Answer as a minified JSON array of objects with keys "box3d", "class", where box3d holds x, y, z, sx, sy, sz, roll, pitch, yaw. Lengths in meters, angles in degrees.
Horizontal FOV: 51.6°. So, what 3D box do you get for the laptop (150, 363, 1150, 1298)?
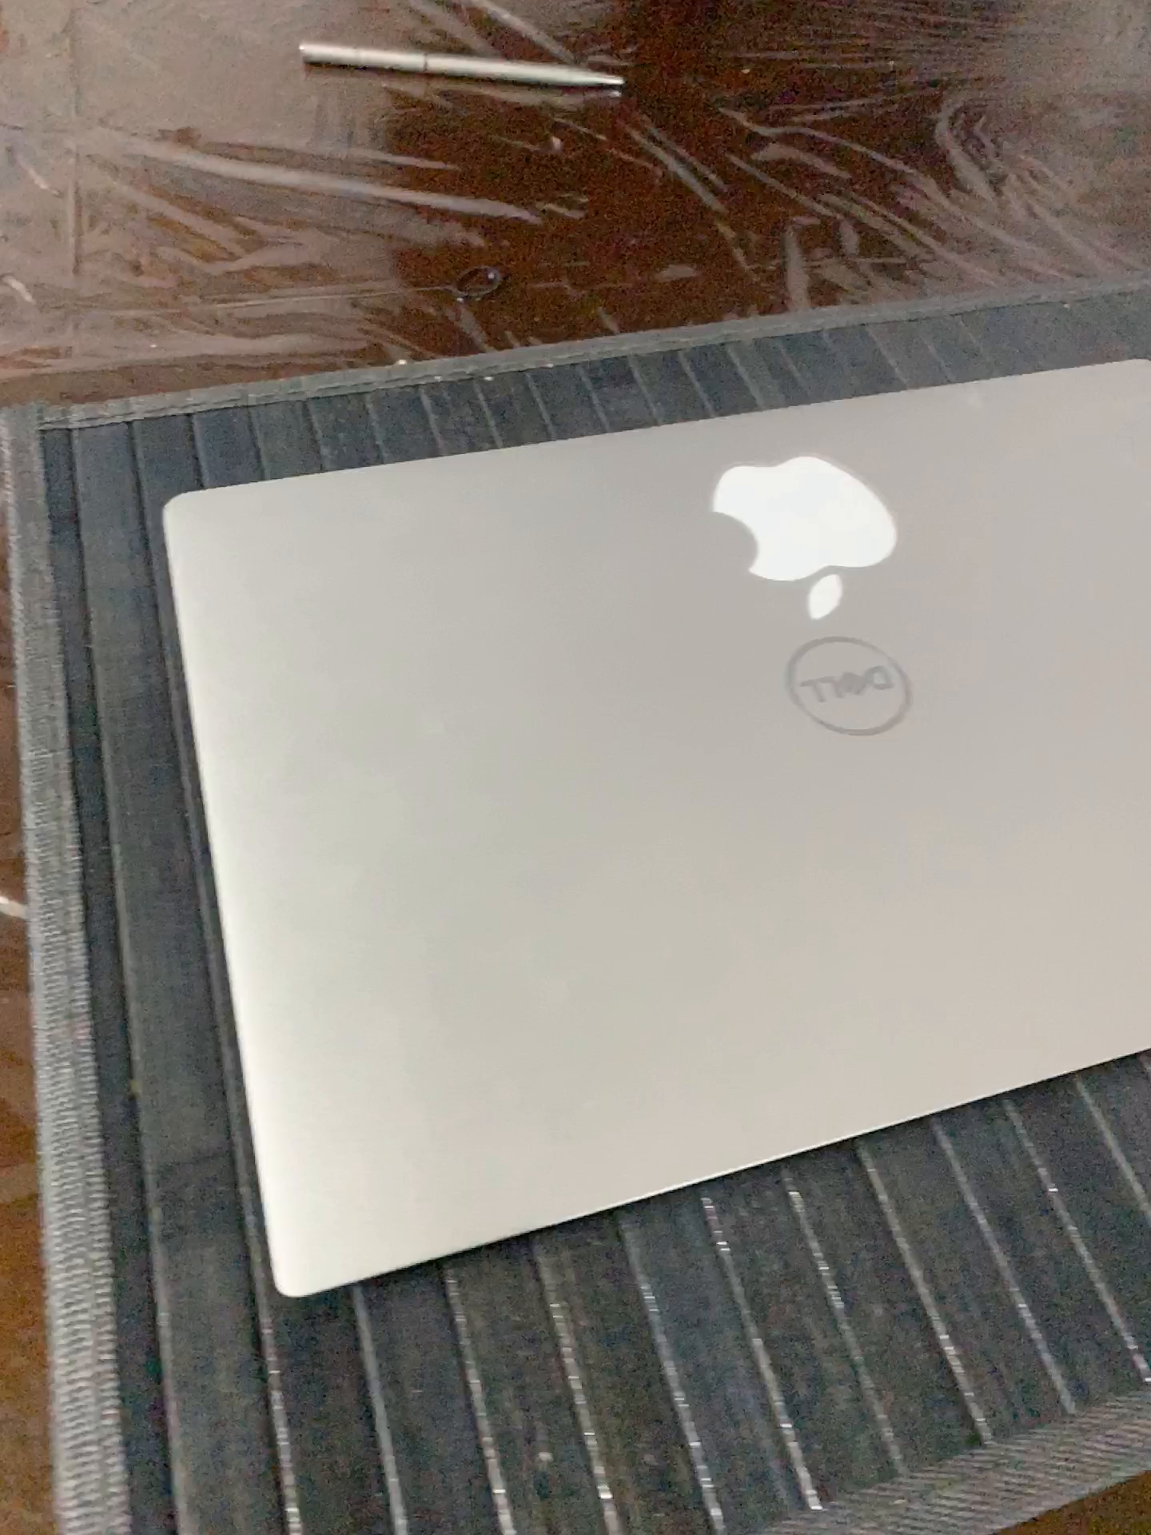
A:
[{"box3d":[0.052,-0.017,0.272,0.271,0.001,0.188,-12,57,-13],"class":"laptop"}]
